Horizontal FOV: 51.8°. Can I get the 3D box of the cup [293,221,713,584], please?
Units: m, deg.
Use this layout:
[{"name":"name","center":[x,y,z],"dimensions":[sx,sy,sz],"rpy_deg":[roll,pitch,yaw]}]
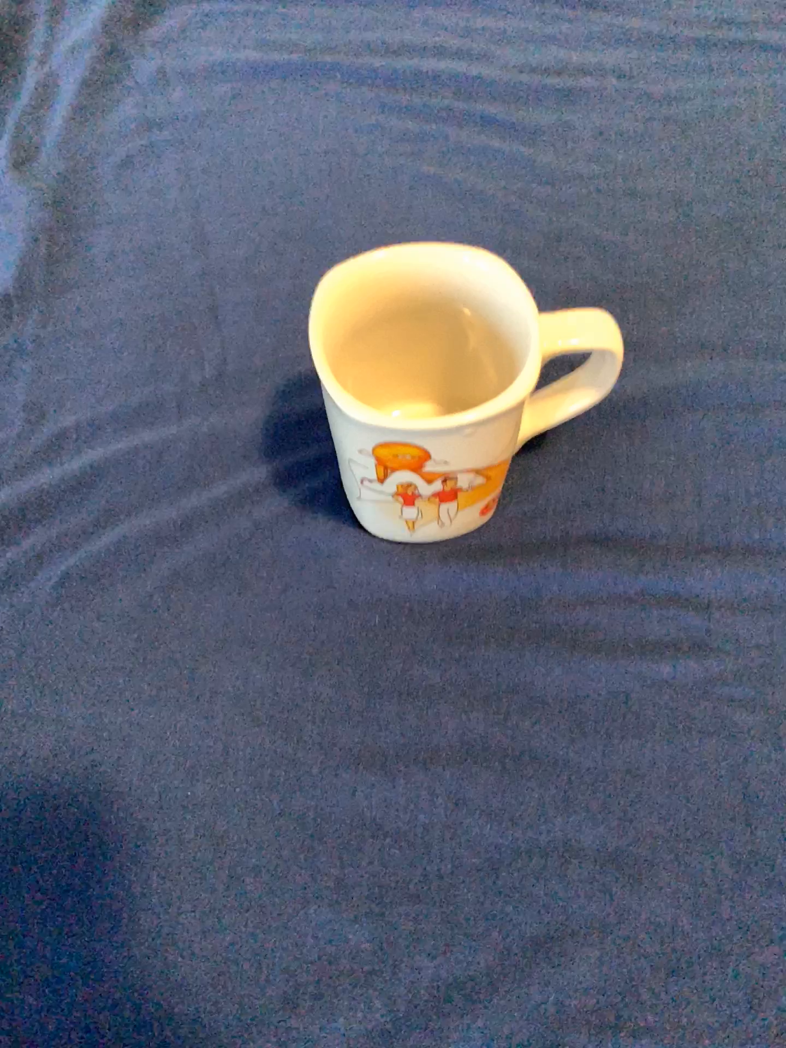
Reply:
[{"name":"cup","center":[0.029,-0.037,0.272],"dimensions":[0.110,0.090,0.070],"rpy_deg":[-6,60,-2]}]
